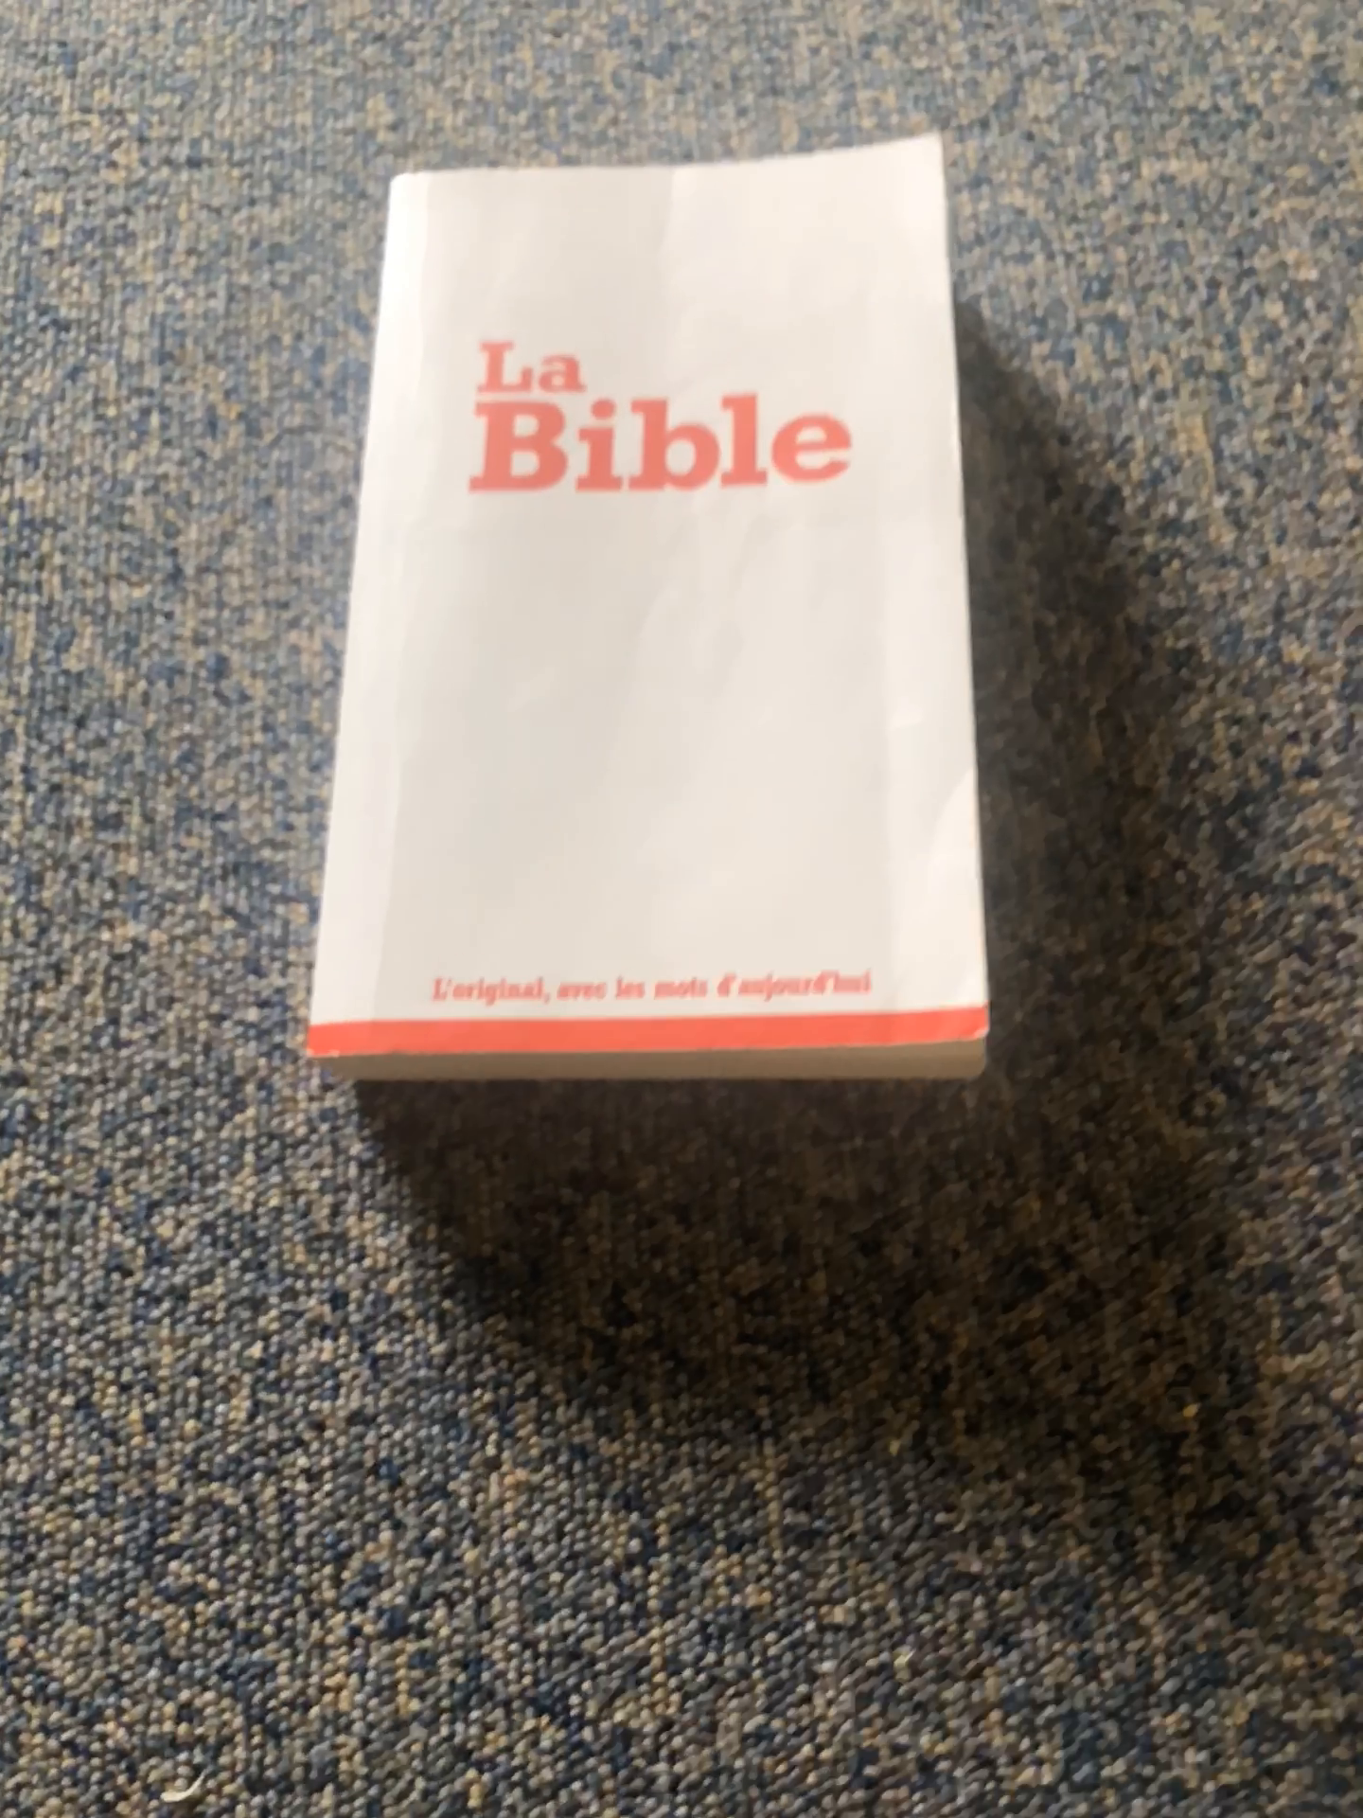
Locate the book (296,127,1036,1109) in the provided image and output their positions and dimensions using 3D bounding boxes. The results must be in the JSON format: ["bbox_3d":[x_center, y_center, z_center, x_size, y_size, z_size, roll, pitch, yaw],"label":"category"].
[{"bbox_3d":[-0.002,-0.066,0.327,0.133,0.042,0.211,-1,72,2],"label":"book"}]
